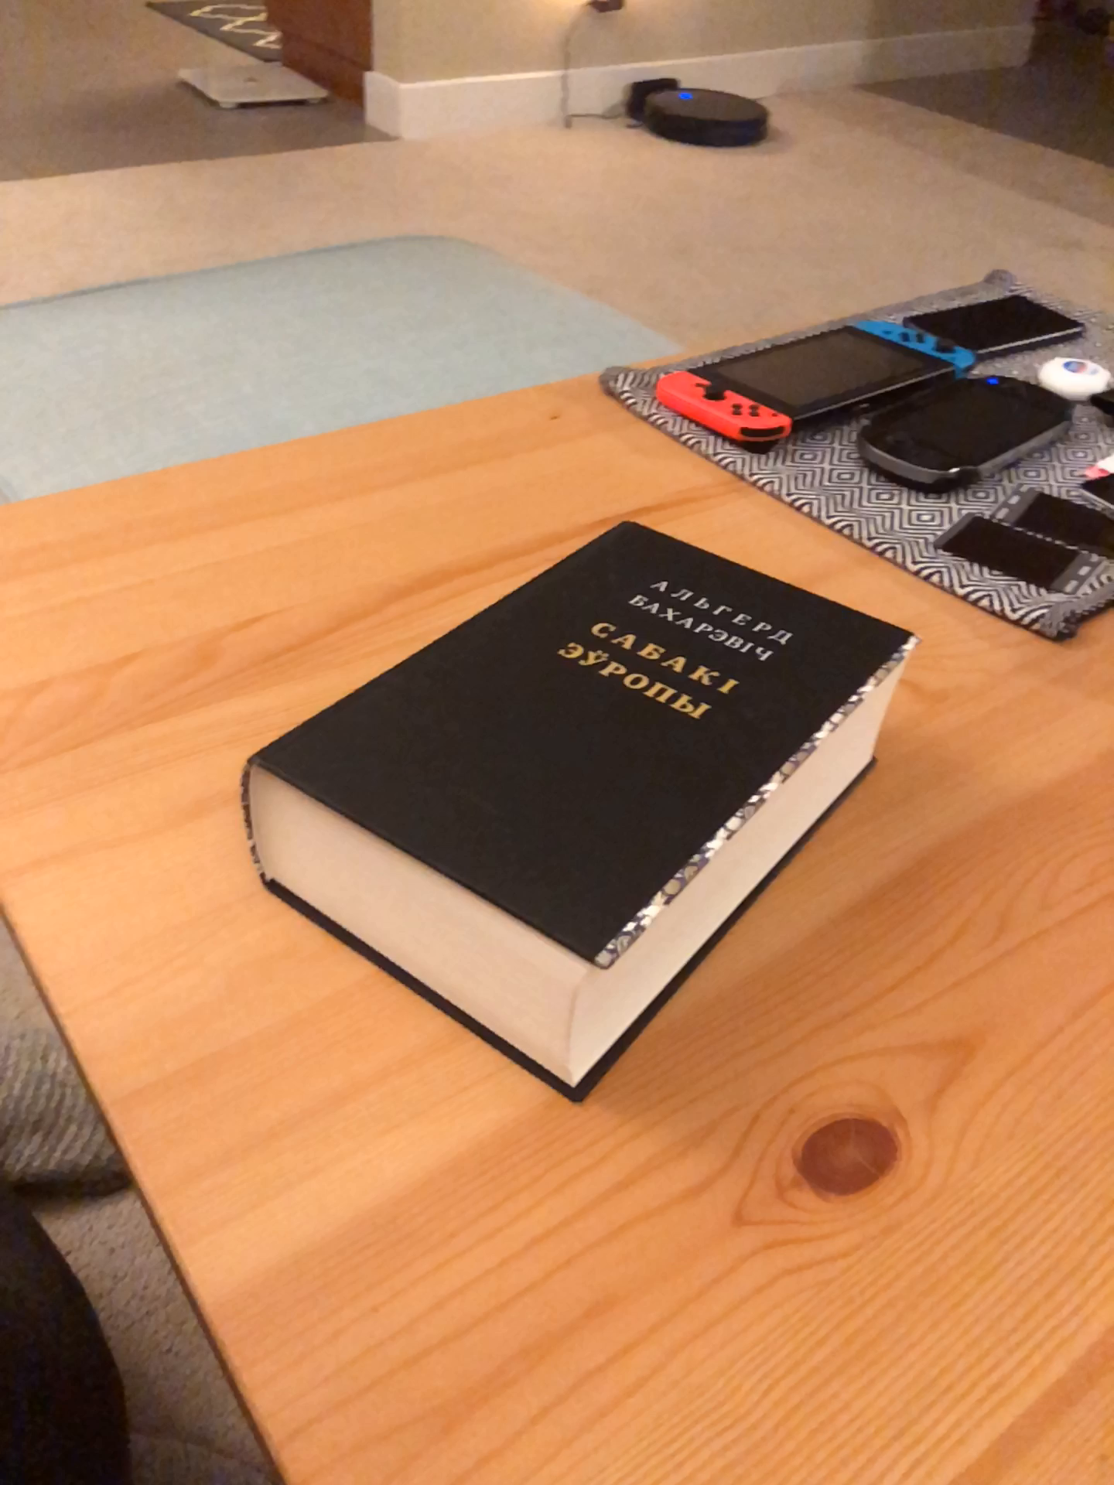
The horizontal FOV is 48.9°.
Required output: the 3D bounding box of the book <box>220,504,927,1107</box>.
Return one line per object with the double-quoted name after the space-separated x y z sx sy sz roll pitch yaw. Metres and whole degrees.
0.016 0.003 0.474 0.157 0.061 0.230 27 45 27 "book"
